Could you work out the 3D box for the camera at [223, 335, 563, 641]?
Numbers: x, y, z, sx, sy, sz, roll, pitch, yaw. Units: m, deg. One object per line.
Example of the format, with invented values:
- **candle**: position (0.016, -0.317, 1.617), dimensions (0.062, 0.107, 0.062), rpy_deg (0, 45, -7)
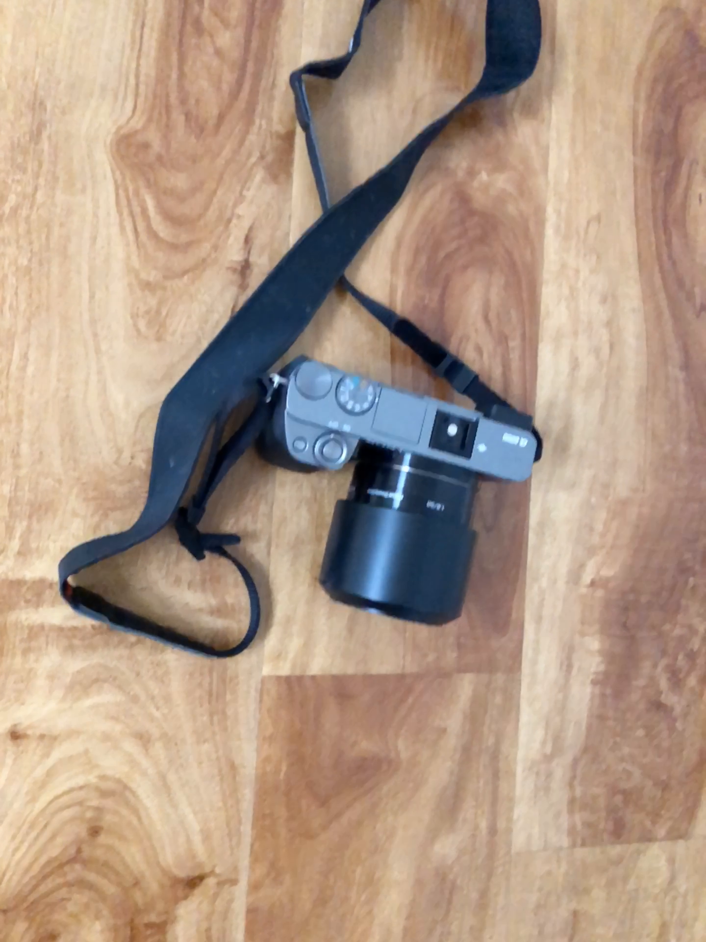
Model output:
- **camera**: position (0.017, 0.011, 0.381), dimensions (0.130, 0.070, 0.110), rpy_deg (14, 84, -16)
